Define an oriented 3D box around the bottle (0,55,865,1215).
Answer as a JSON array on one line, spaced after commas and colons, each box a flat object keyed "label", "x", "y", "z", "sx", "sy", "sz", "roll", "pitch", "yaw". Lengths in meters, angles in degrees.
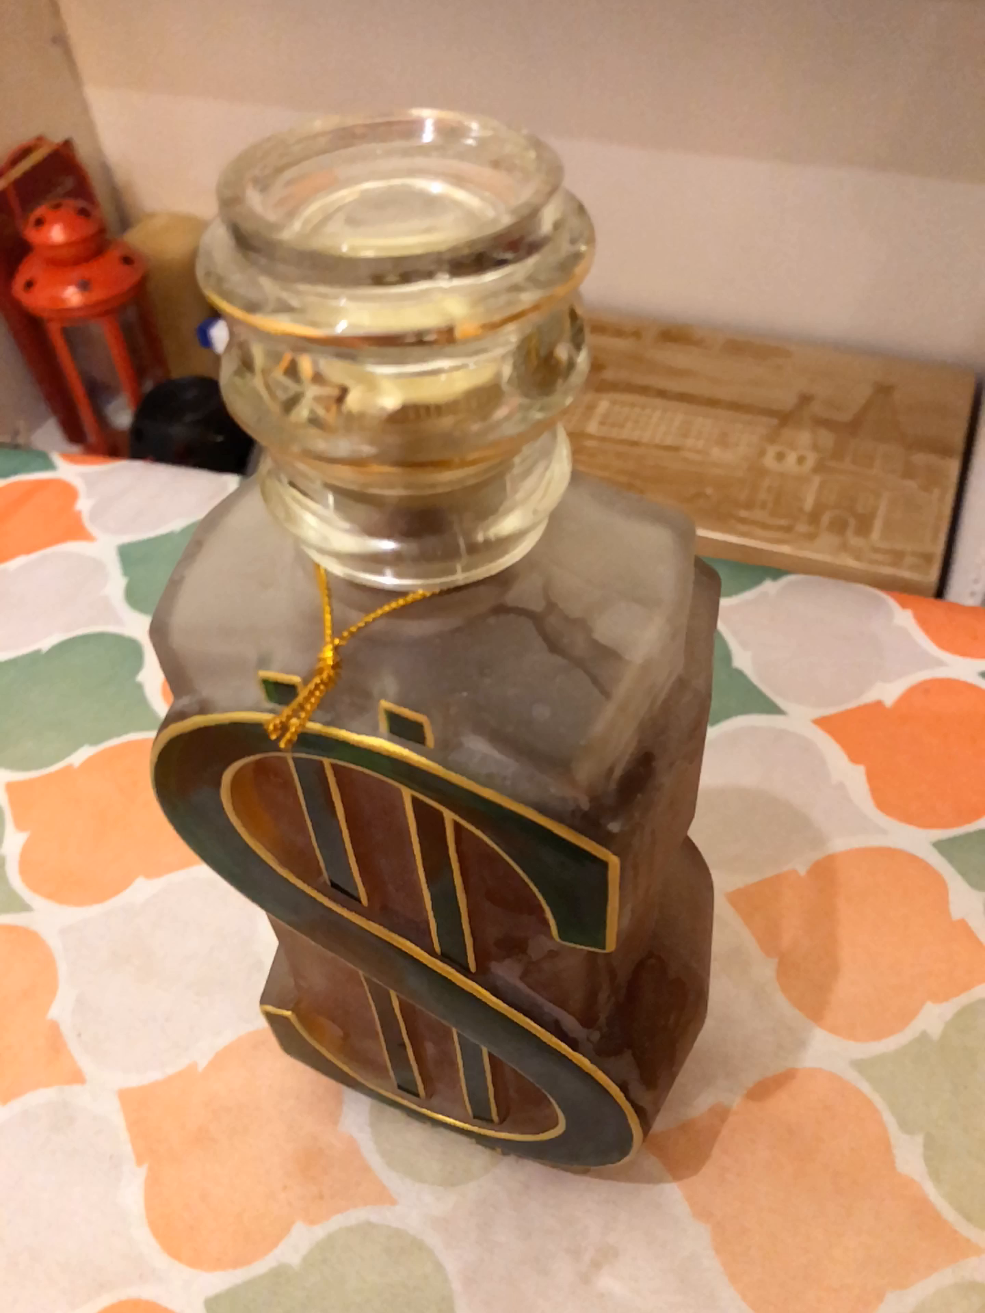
[{"label": "bottle", "x": -0.005, "y": 0.023, "z": 0.214, "sx": 0.100, "sy": 0.233, "sz": 0.064, "roll": 14, "pitch": 50, "yaw": 17}]
